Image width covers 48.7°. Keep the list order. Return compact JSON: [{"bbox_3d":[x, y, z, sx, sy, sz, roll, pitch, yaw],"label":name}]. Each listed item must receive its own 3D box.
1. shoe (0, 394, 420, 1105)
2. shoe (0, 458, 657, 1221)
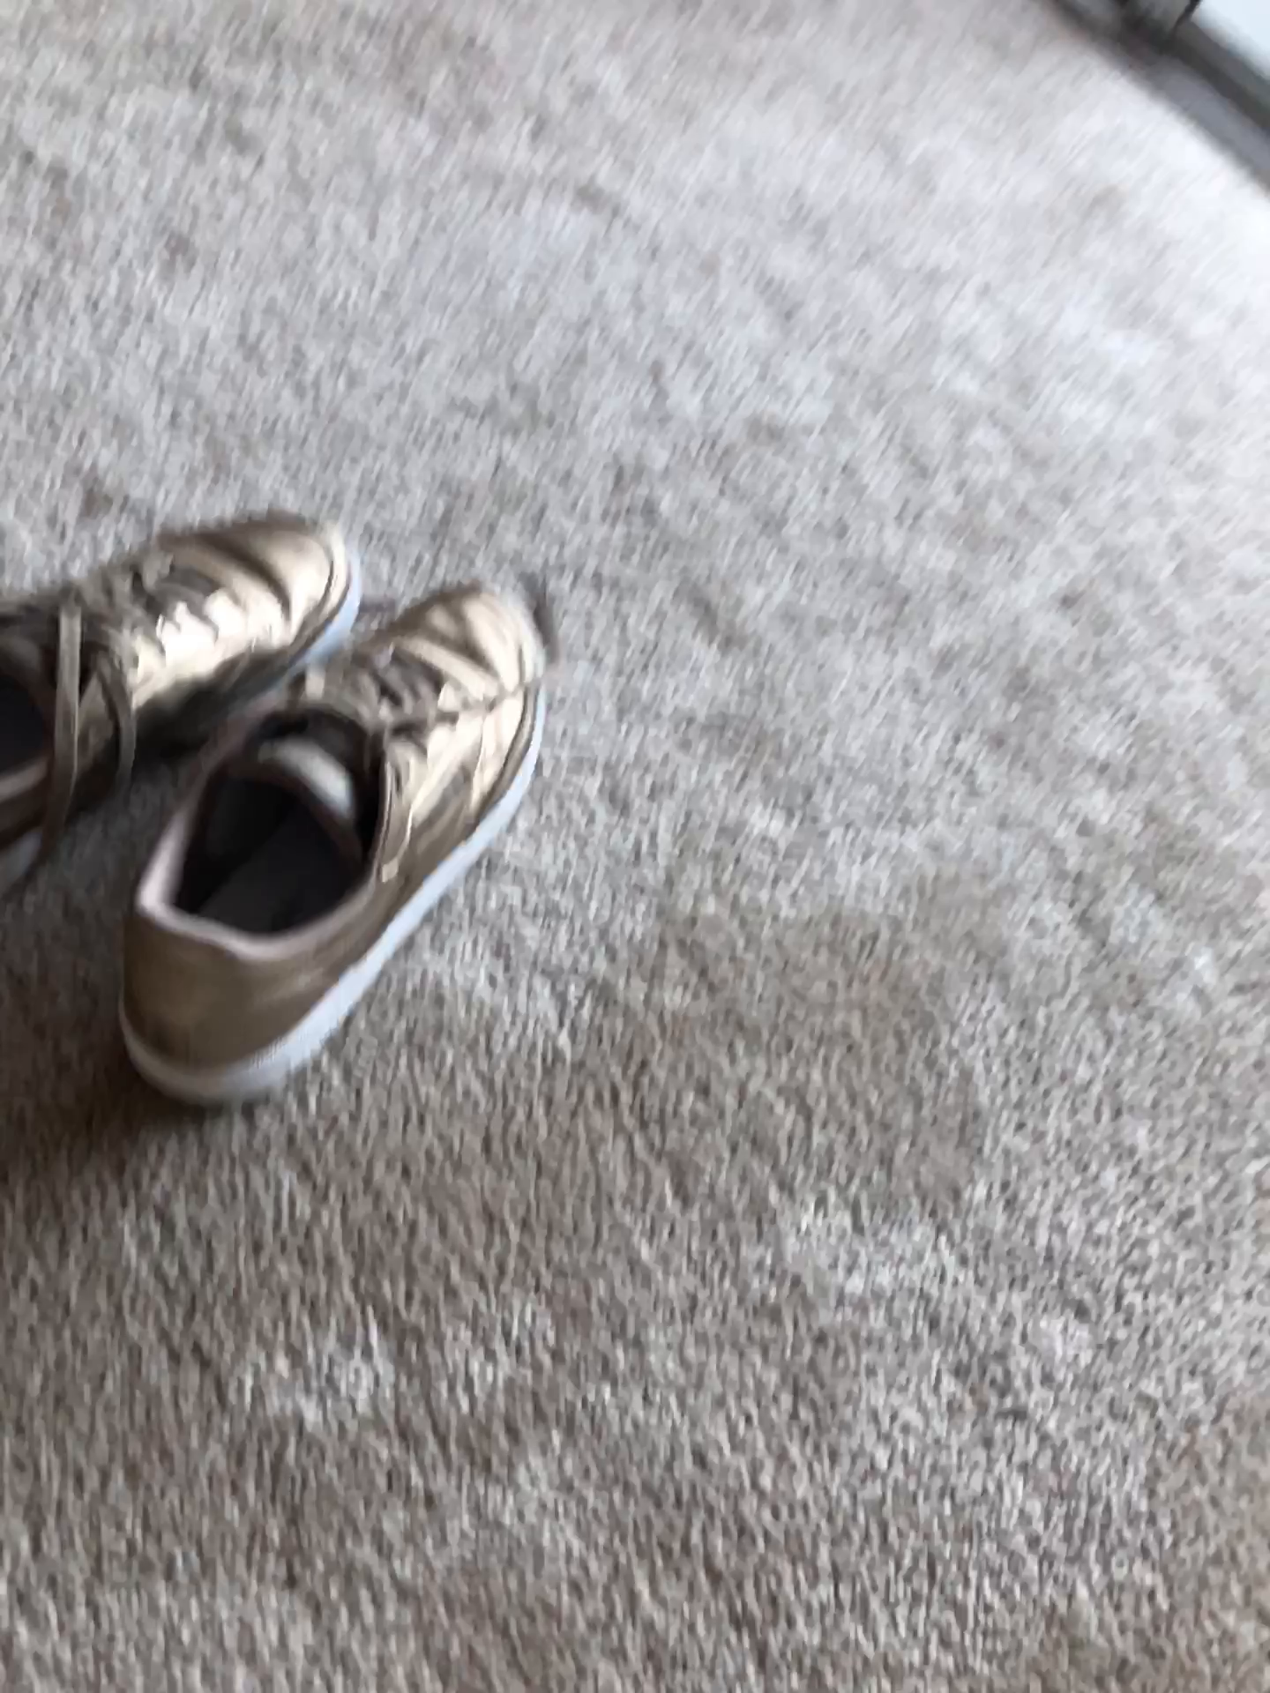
[{"bbox_3d":[-0.216,-0.051,0.530,0.110,0.070,0.281,36,56,8],"label":"shoe"},{"bbox_3d":[-0.112,-0.018,0.520,0.110,0.070,0.281,31,56,5],"label":"shoe"}]
